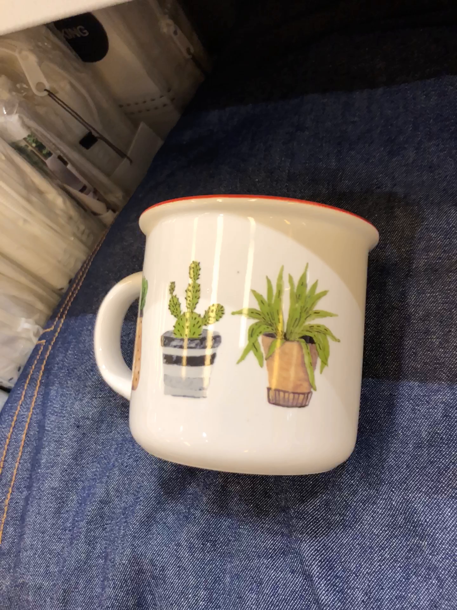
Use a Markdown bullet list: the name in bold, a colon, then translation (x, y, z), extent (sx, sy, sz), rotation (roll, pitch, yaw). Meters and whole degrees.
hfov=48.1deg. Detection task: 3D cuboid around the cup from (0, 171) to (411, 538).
- **cup**: translation (-0.007, 0.019, 0.210), extent (0.140, 0.090, 0.100), rotation (1, 77, 27)
